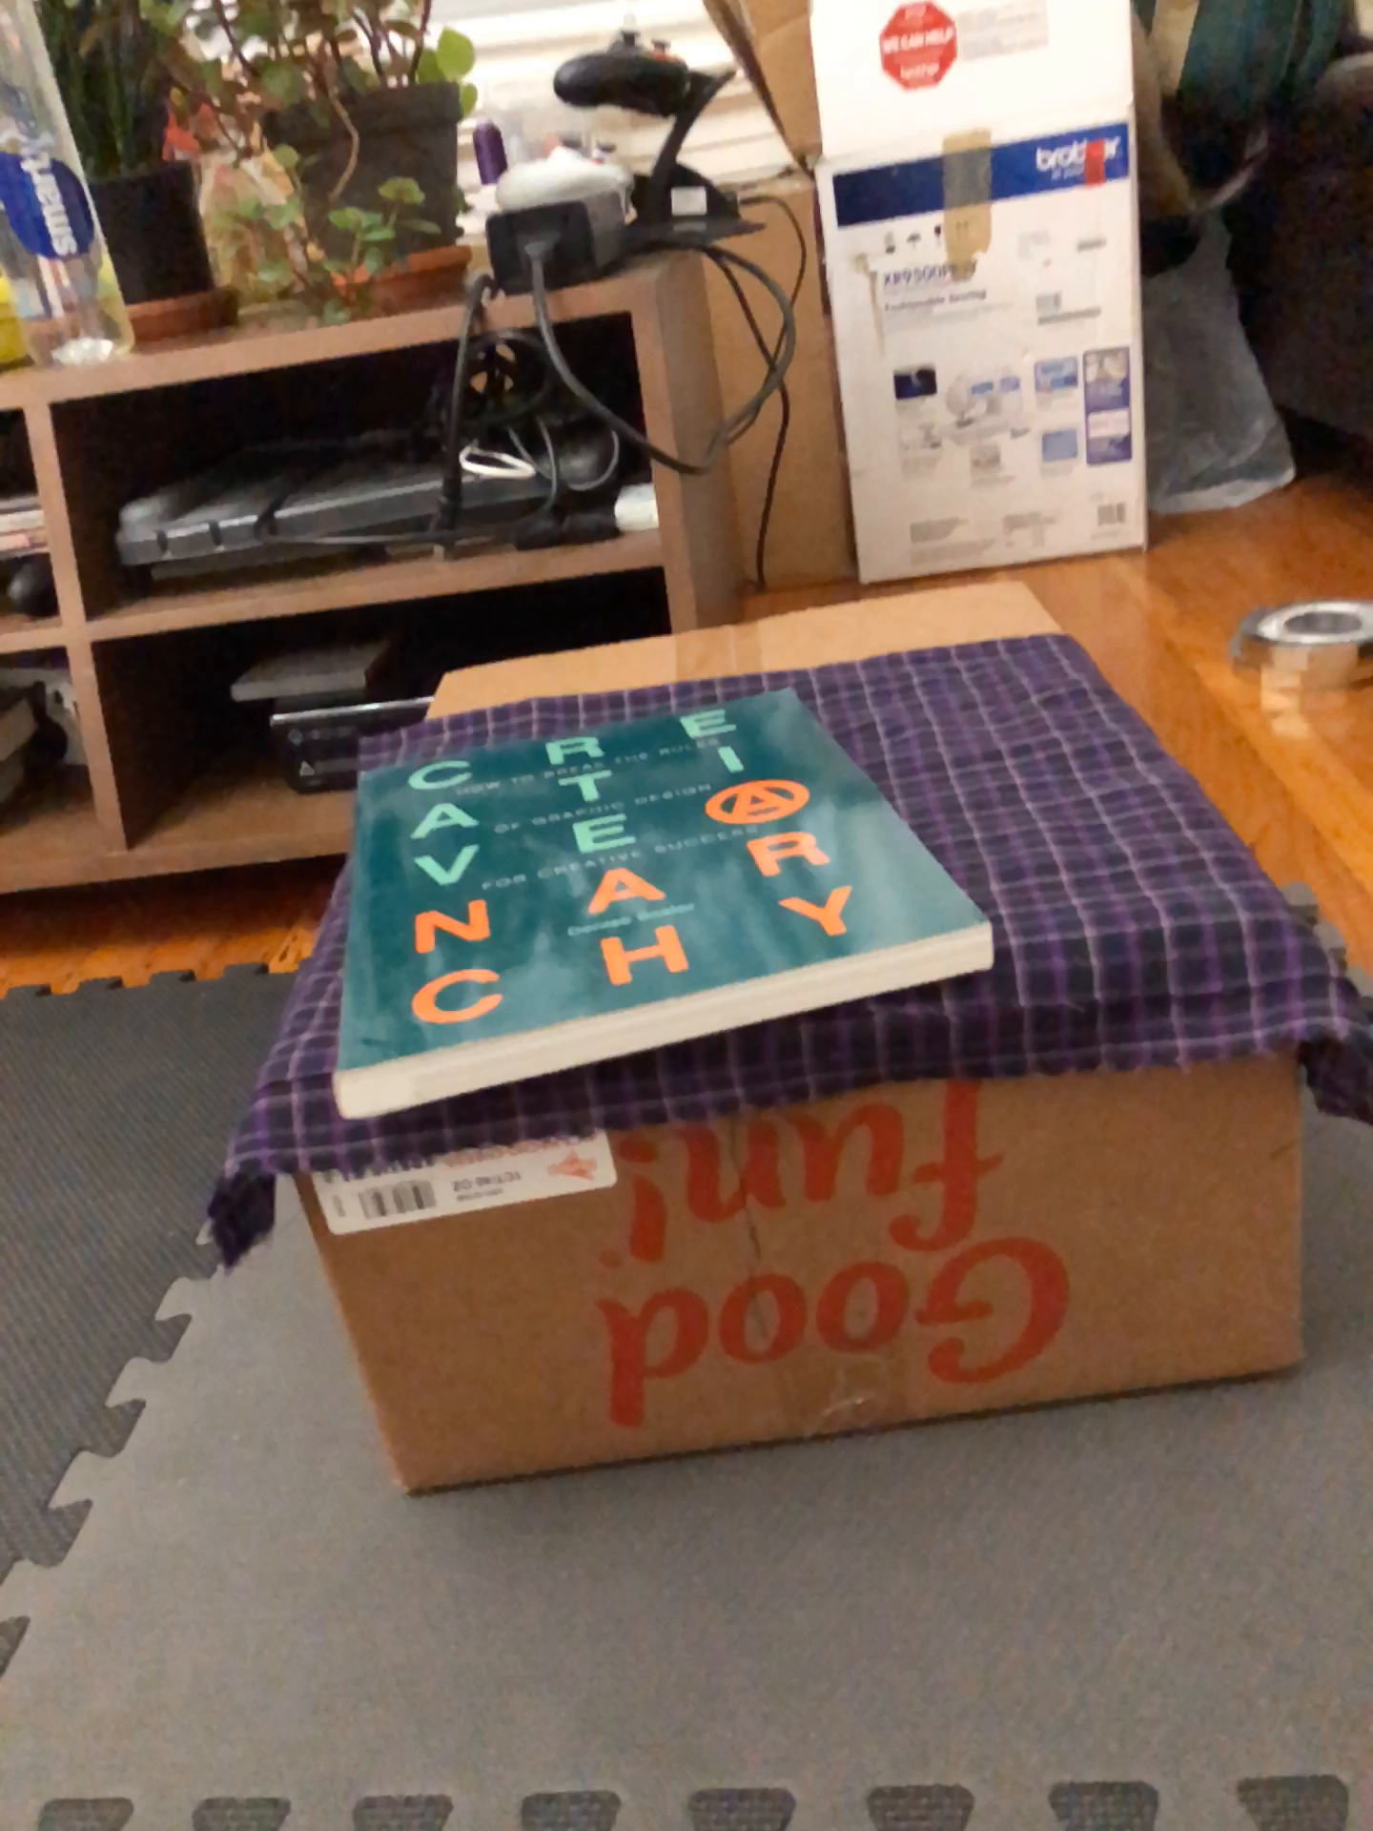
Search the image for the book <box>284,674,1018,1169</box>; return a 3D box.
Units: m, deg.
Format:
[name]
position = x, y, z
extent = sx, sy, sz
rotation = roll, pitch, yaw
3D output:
[book]
position = -0.033, -0.021, 0.581
extent = 0.220, 0.020, 0.302
rotation = -13, 26, -5
